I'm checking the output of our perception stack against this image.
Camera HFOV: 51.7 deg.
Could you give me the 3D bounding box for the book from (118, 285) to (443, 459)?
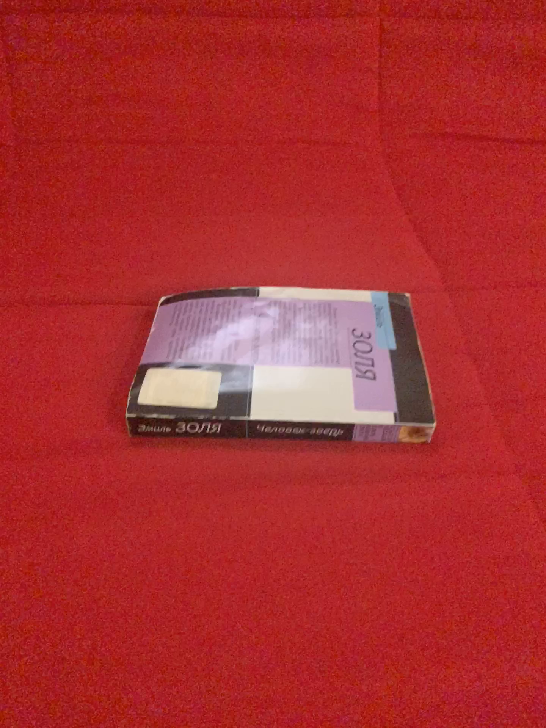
[{"bbox_3d":[0.005,0.000,0.346,0.170,0.033,0.109,2,45,1],"label":"book"}]
